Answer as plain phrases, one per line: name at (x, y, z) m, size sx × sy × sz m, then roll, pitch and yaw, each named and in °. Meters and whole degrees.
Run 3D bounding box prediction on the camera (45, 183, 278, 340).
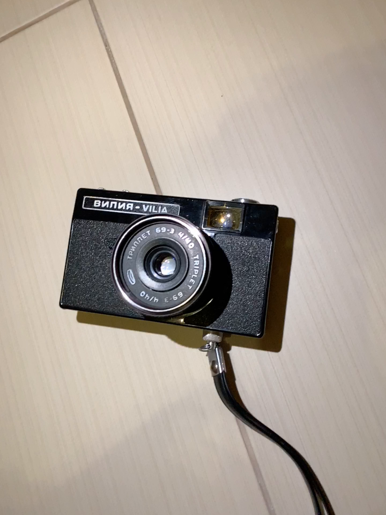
camera at (-0.017, 0.001, 0.239) m, size 0.124 × 0.041 × 0.073 m, roll 7°, pitch 87°, yaw 14°
